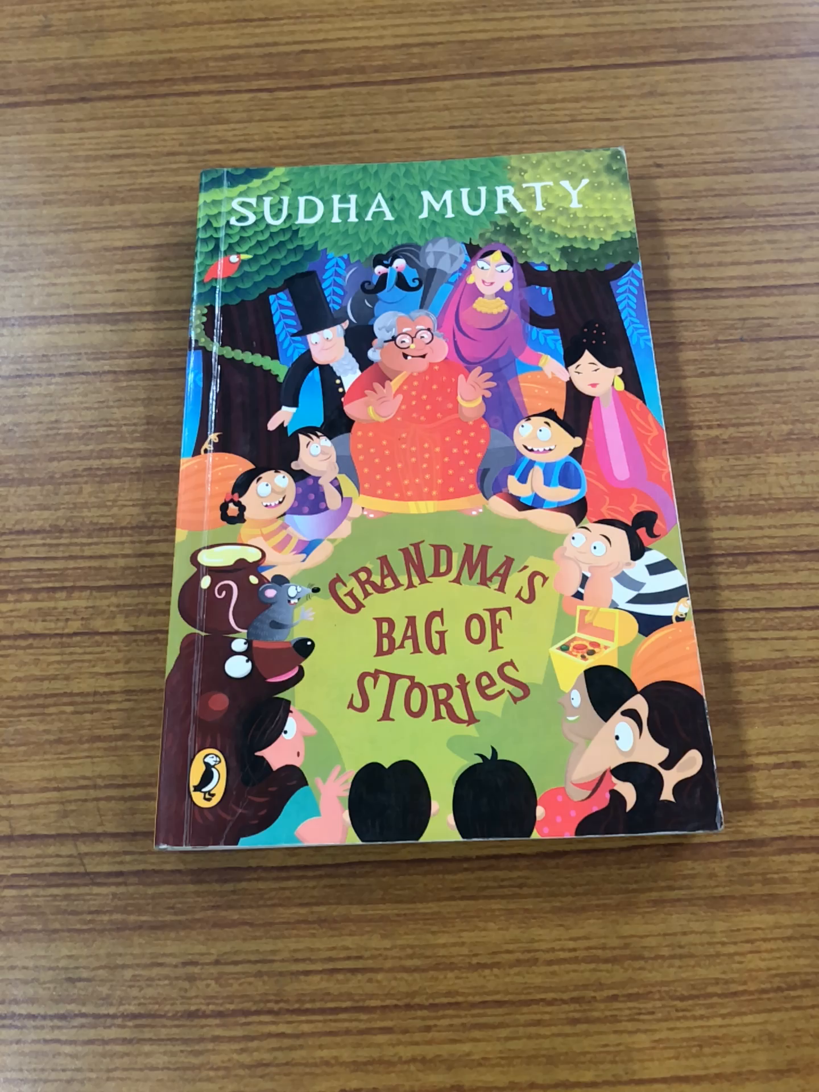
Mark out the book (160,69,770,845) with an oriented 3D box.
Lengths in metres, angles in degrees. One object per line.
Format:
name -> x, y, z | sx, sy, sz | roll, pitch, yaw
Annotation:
book -> 0.008, -0.033, 0.247 | 0.130, 0.030, 0.210 | -3, 69, 2
